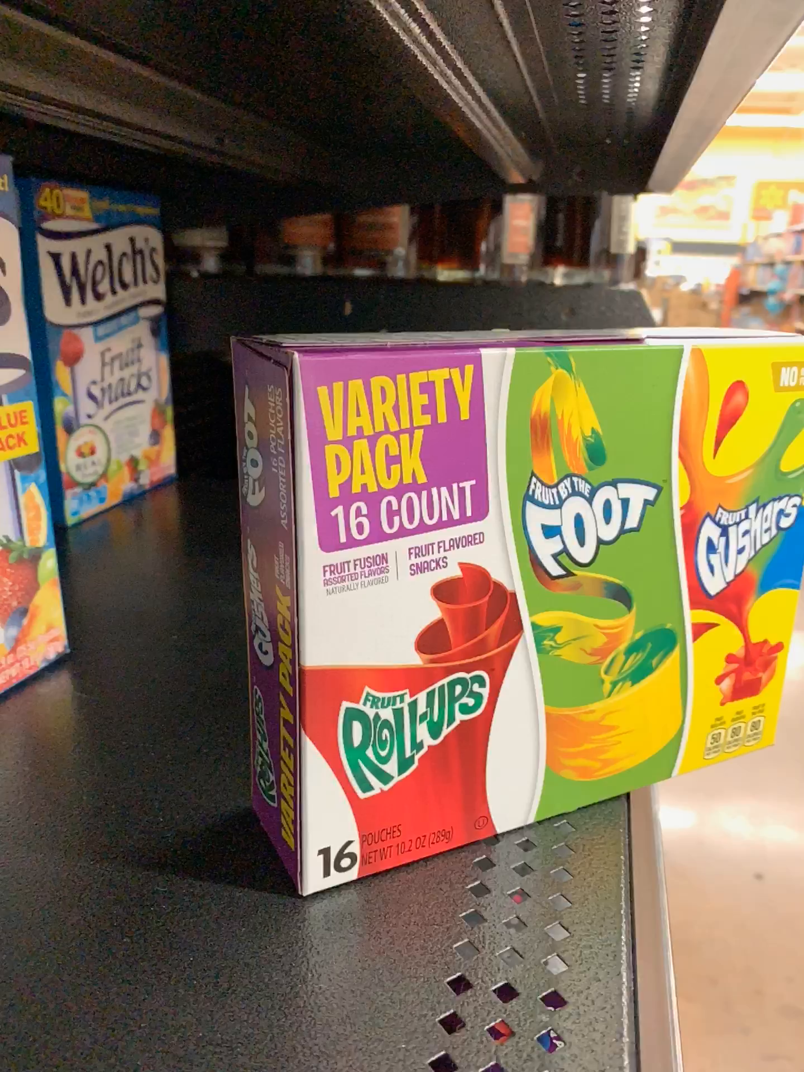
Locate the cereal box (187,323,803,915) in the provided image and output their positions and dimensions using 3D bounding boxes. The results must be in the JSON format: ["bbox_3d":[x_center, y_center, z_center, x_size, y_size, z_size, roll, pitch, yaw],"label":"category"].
[{"bbox_3d":[0.044,0.013,0.301,0.220,0.169,0.060,-7,19,-26],"label":"cereal box"}]
